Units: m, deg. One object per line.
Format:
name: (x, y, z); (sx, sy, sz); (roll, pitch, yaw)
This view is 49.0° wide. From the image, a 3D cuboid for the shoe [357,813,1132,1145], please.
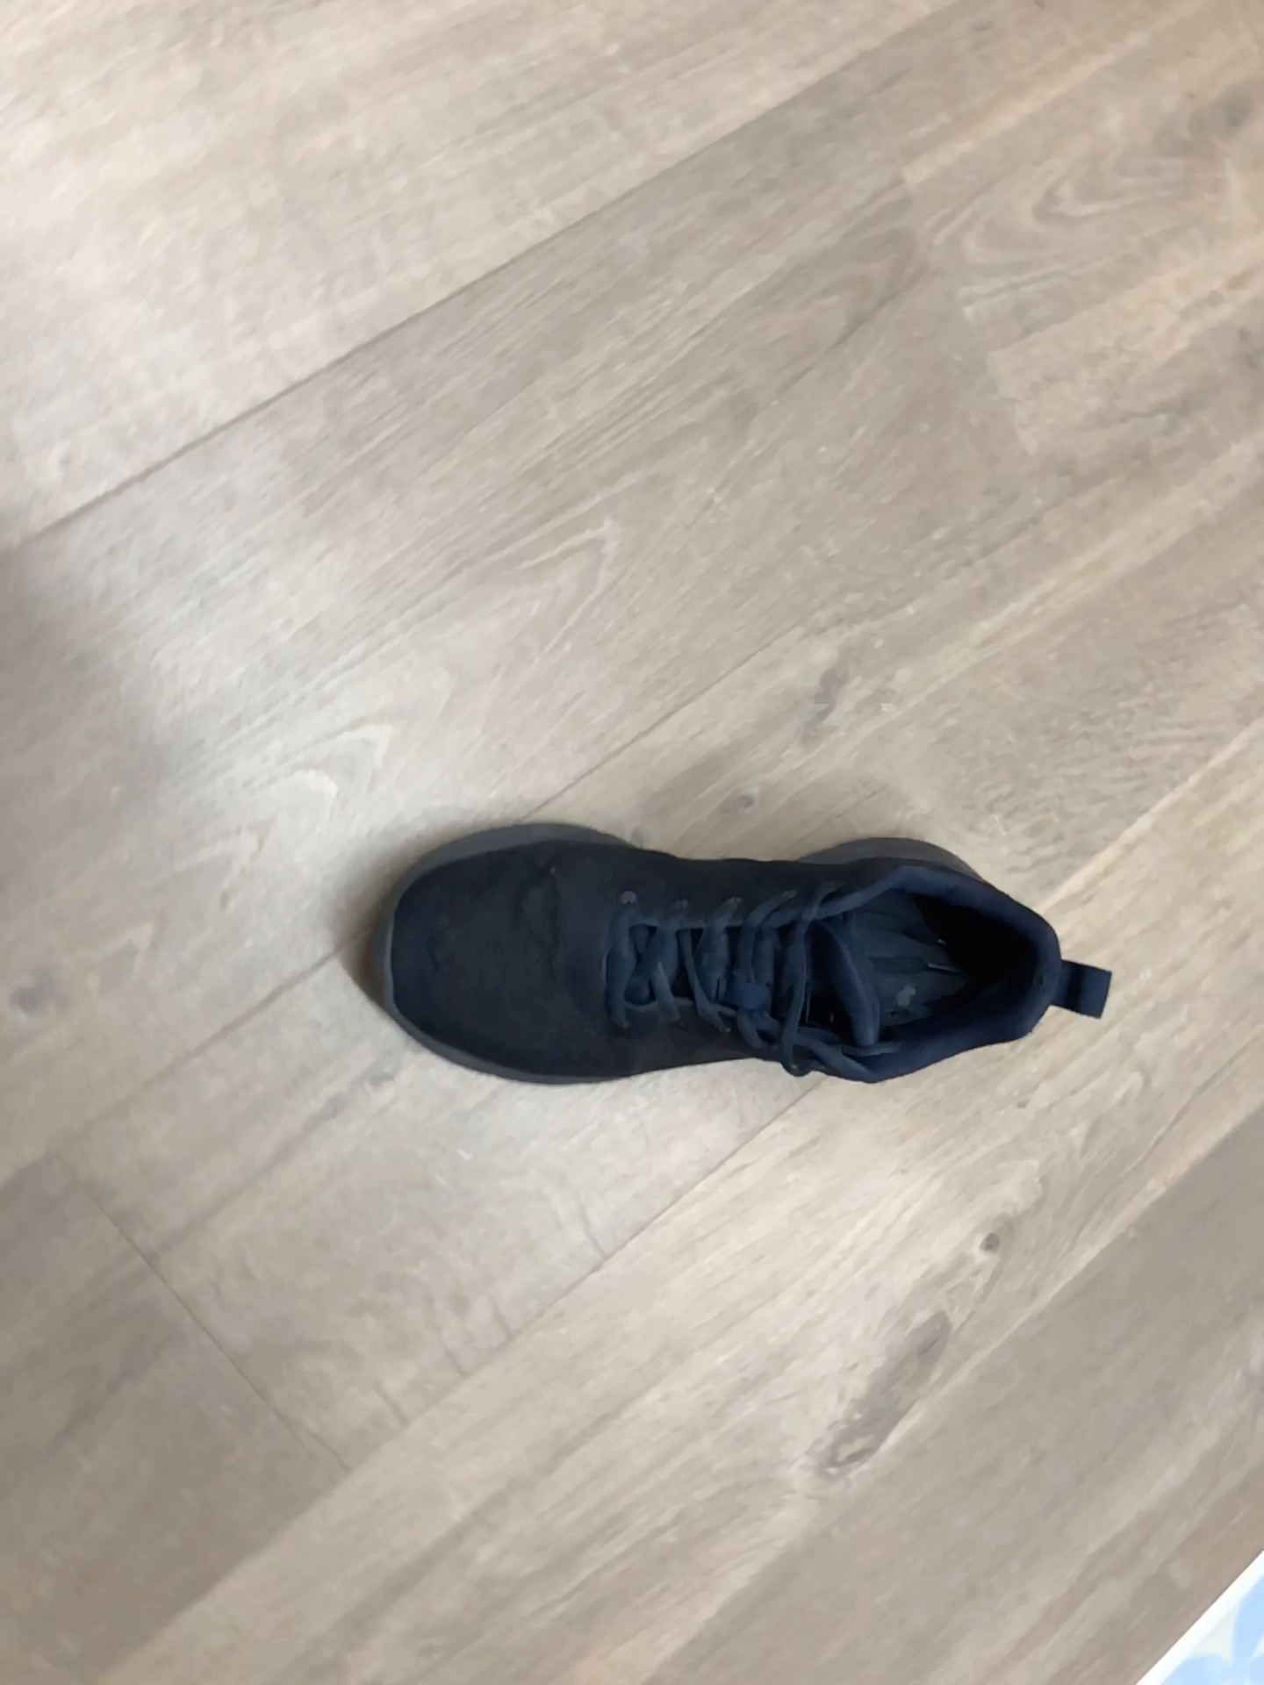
shoe: (0.046, 0.049, 0.566); (0.291, 0.110, 0.100); (2, 97, -23)
